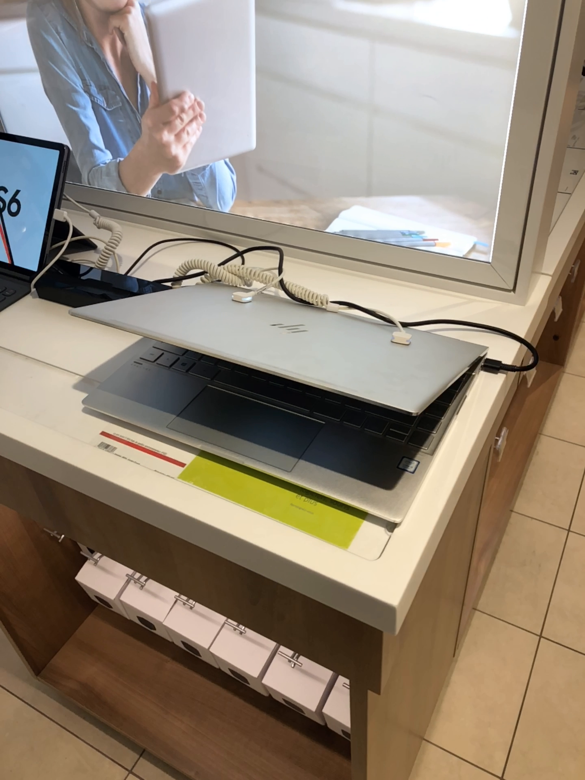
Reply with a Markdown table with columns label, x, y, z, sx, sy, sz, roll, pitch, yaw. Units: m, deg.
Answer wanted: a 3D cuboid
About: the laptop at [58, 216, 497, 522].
| label | x | y | z | sx | sy | sz | roll | pitch | yaw |
| --- | --- | --- | --- | --- | --- | --- | --- | --- | --- |
| laptop | -0.008 | -0.043 | 0.553 | 0.299 | 0.078 | 0.211 | 17 | 46 | 24 |
